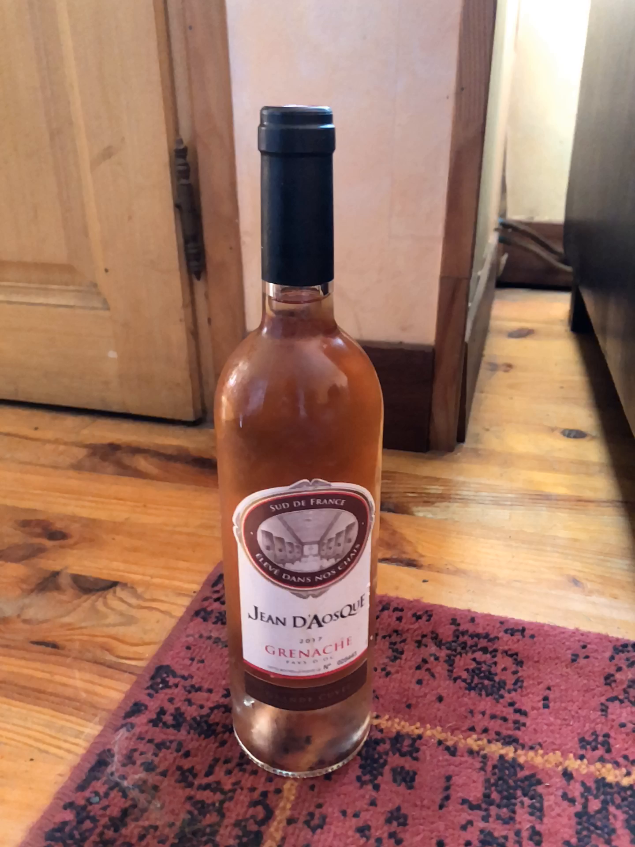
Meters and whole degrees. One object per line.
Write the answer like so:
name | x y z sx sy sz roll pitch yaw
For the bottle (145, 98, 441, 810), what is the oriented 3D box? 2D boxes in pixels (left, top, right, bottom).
bottle | -0.011 0.026 0.314 0.090 0.308 0.080 -5 26 -8
